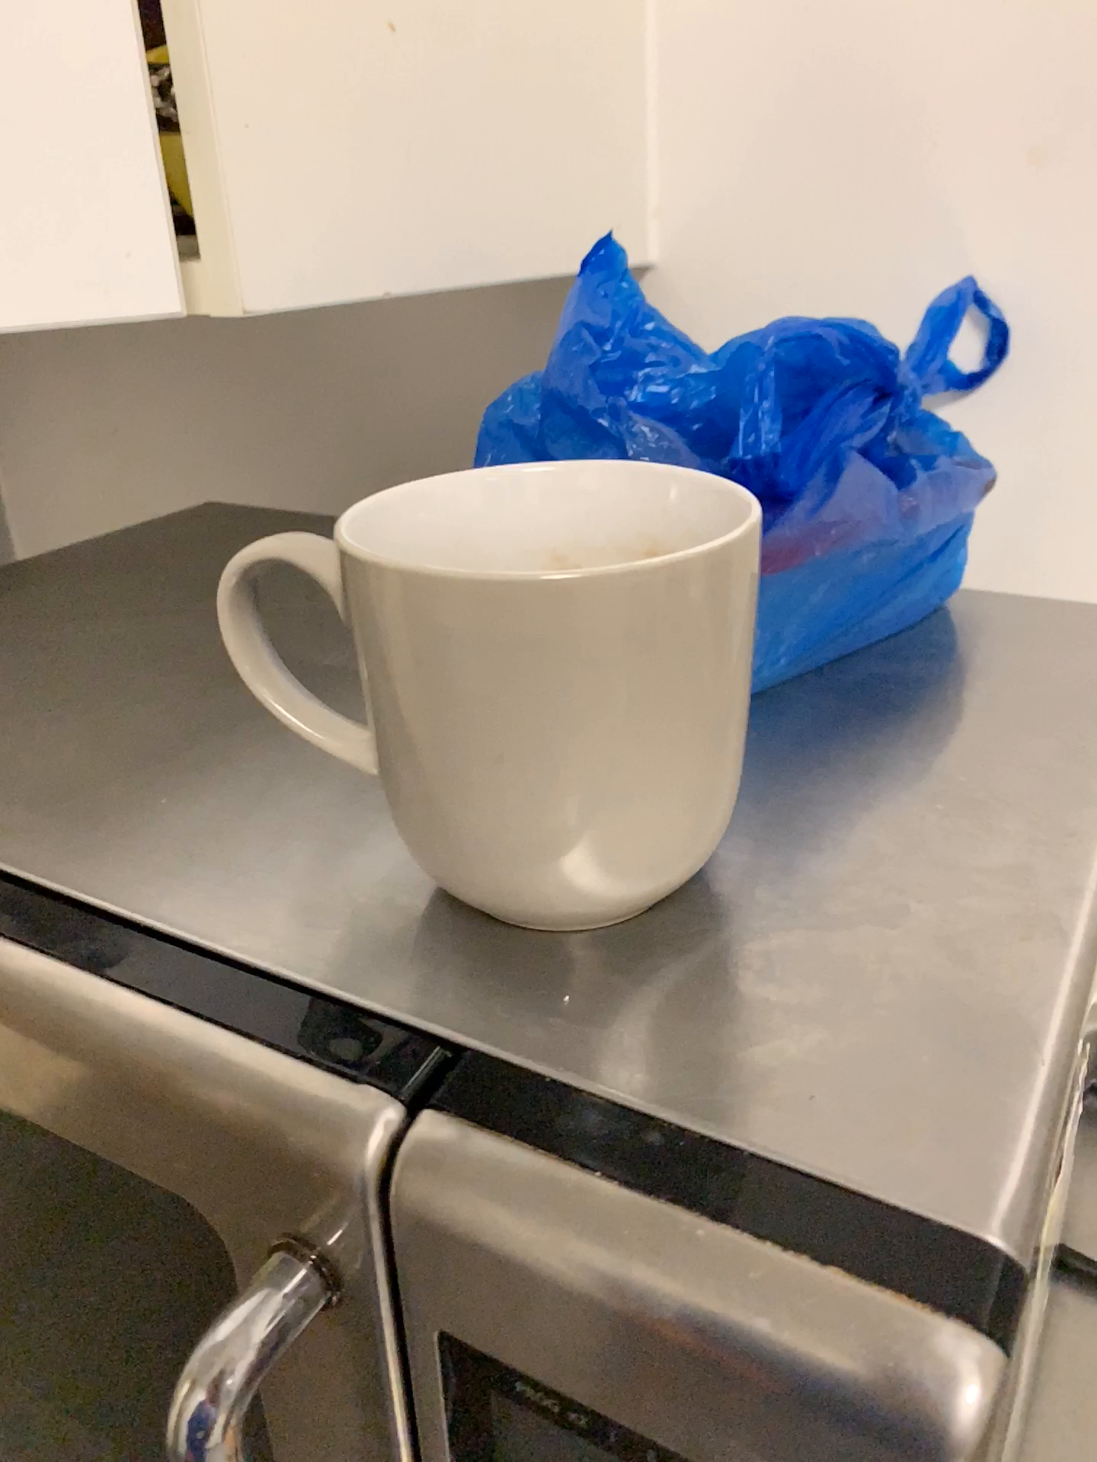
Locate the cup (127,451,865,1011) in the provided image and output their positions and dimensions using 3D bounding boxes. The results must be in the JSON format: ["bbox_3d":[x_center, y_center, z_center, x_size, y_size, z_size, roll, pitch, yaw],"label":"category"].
[{"bbox_3d":[-0.007,-0.013,0.259,0.129,0.077,0.094,10,28,29],"label":"cup"}]
